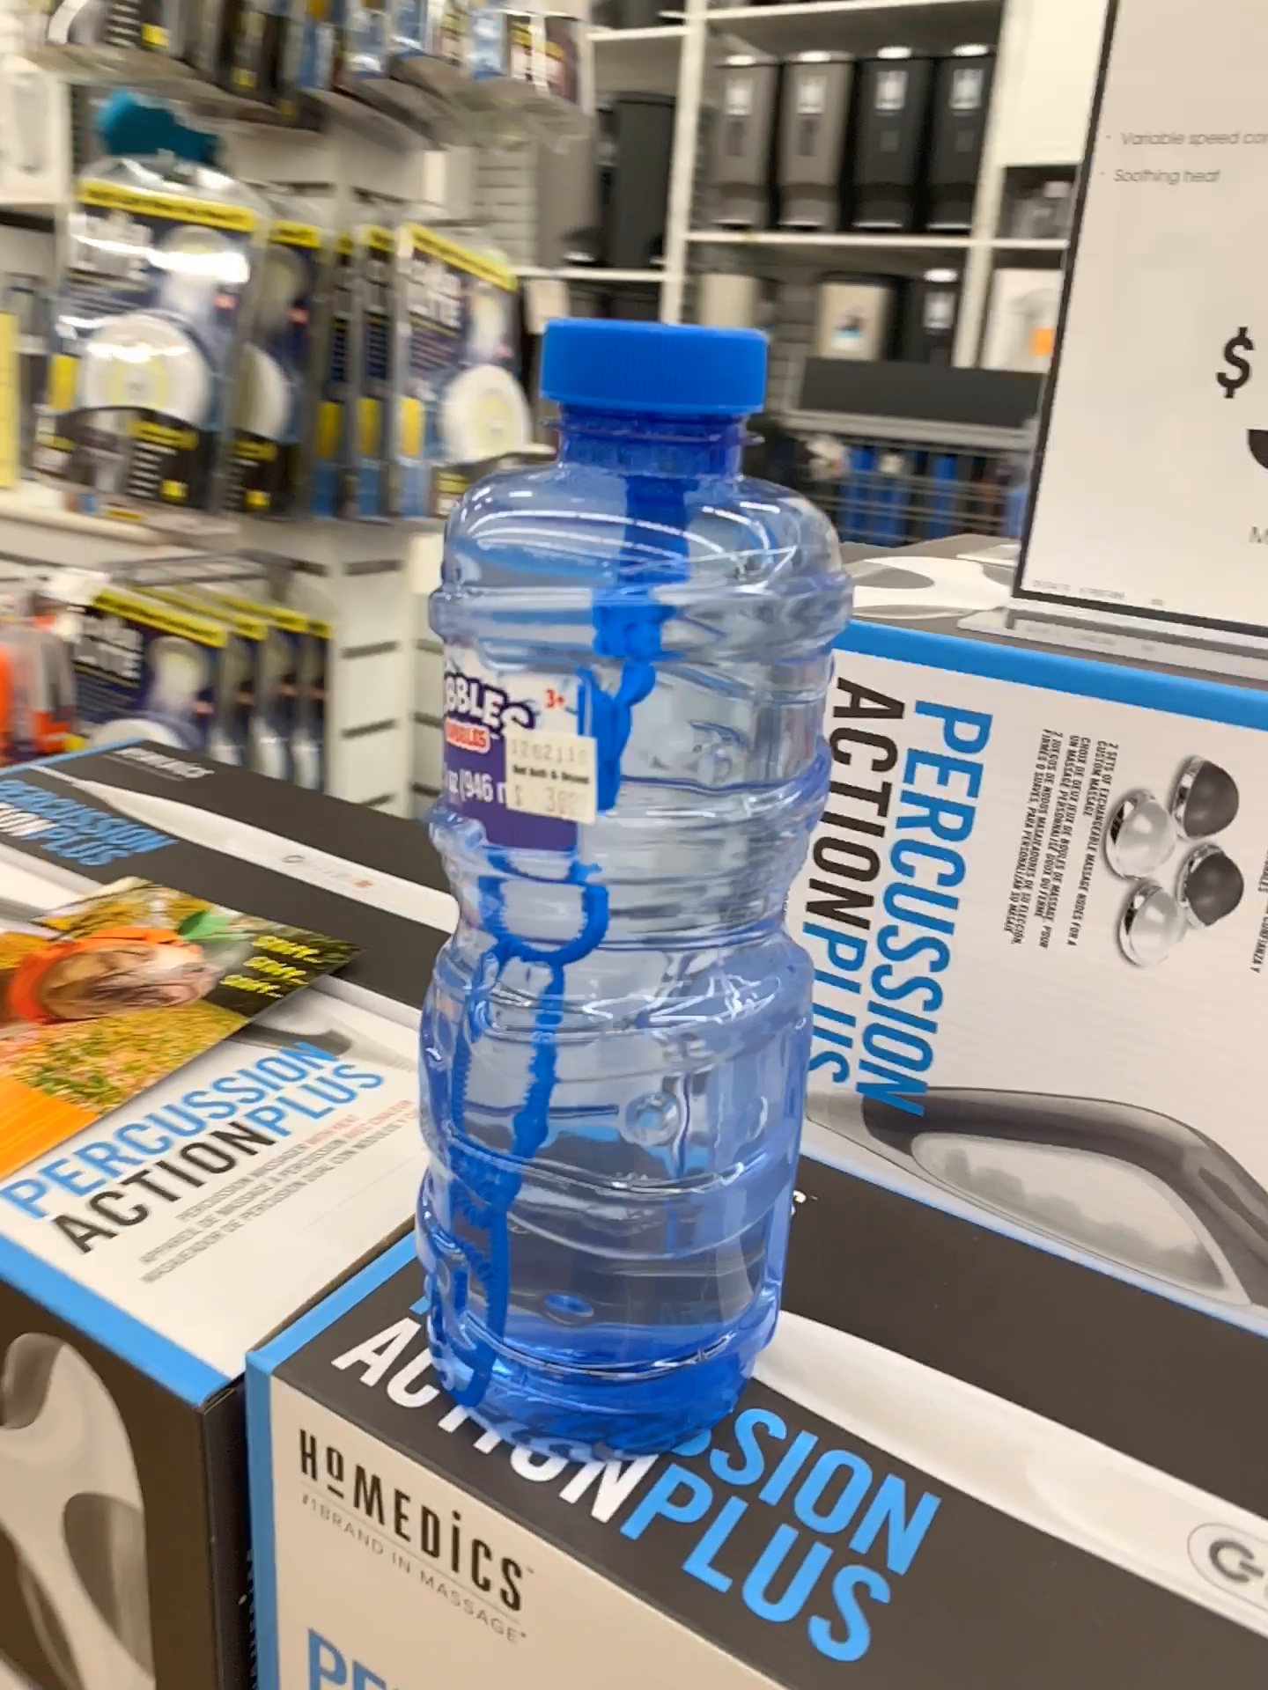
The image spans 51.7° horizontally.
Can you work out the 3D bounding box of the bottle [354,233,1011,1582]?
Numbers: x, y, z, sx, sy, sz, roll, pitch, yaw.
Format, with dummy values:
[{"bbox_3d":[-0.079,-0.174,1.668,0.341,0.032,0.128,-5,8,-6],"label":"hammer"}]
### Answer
[{"bbox_3d":[-0.001,0.013,0.273,0.081,0.243,0.081,5,18,-2],"label":"bottle"}]
